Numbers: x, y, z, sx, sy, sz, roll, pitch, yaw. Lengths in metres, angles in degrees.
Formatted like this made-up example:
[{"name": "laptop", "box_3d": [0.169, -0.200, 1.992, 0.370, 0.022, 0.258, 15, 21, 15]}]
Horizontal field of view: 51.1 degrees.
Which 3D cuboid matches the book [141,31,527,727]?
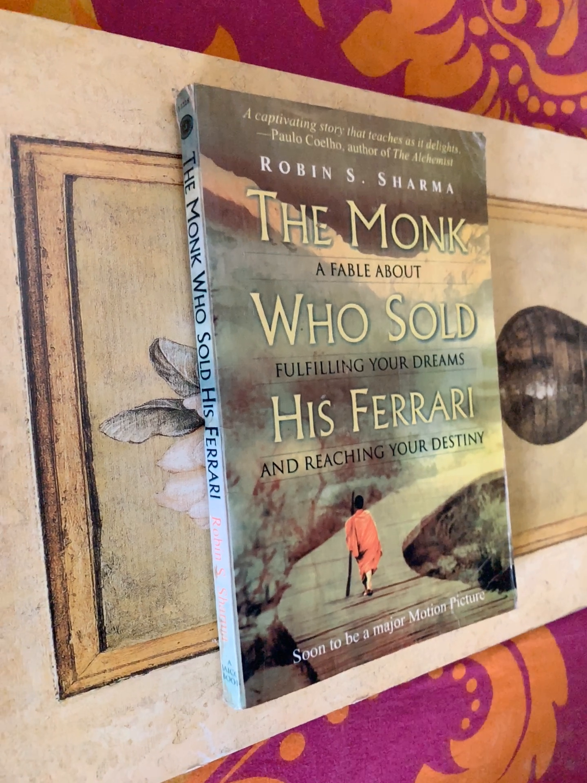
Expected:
[{"name": "book", "box_3d": [0.022, -0.008, 0.223, 0.130, 0.030, 0.200, -6, 91, -32]}]
